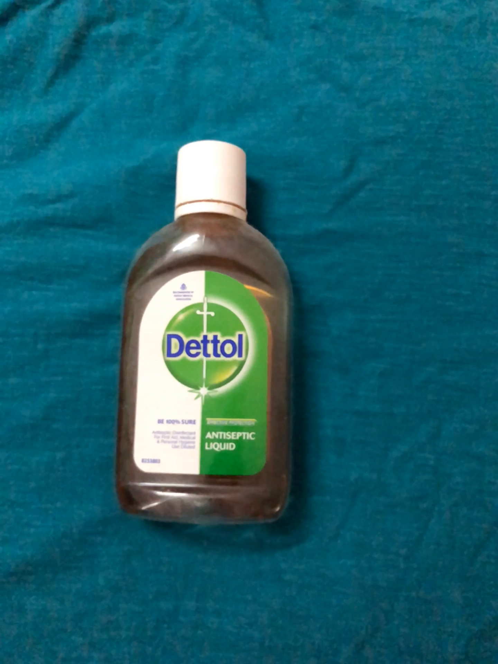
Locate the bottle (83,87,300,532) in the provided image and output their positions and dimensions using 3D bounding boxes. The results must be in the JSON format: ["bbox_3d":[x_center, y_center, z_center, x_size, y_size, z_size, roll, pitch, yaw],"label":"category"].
[{"bbox_3d":[-0.021,-0.011,0.245,0.080,0.040,0.180,2,81,0],"label":"bottle"}]
